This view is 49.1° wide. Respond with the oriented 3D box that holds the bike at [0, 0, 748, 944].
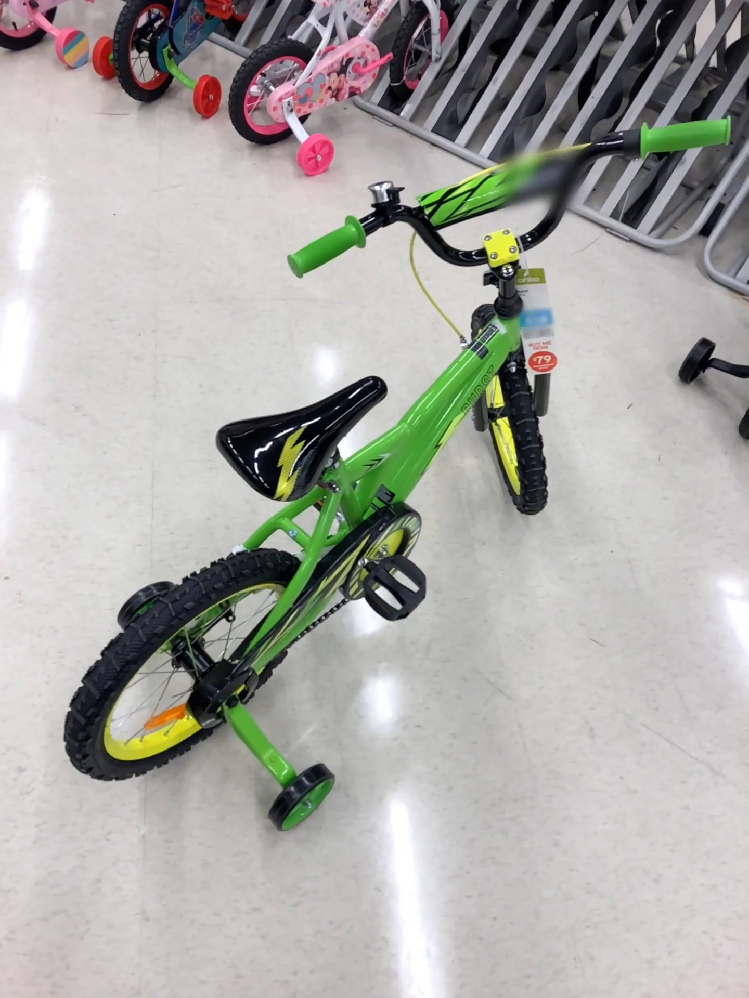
[{"bbox_3d":[-0.059,-0.174,1.114,0.553,0.807,1.047,32,61,17],"label":"bike"}]
